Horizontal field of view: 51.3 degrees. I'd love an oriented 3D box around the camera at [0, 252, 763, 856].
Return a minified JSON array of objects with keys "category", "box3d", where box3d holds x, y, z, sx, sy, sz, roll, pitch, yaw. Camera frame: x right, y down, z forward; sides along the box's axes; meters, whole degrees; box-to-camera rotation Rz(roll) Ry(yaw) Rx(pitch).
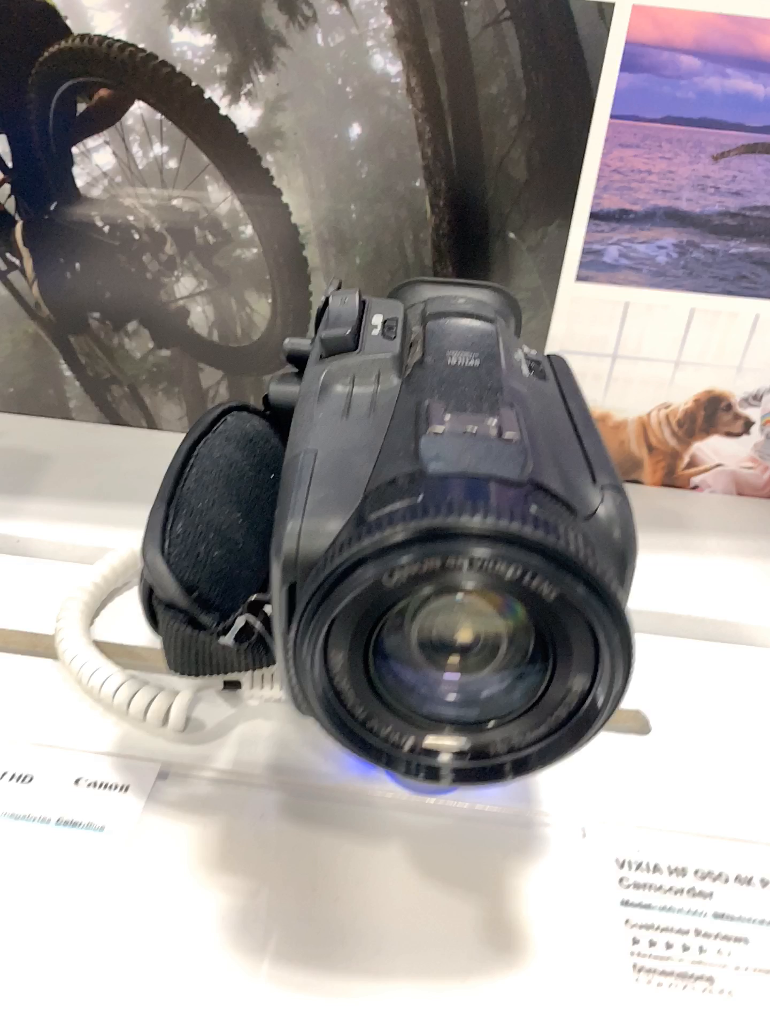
[{"category":"camera","box3d":[-0.002,-0.015,0.237,0.131,0.069,0.201,6,29,-1]}]
